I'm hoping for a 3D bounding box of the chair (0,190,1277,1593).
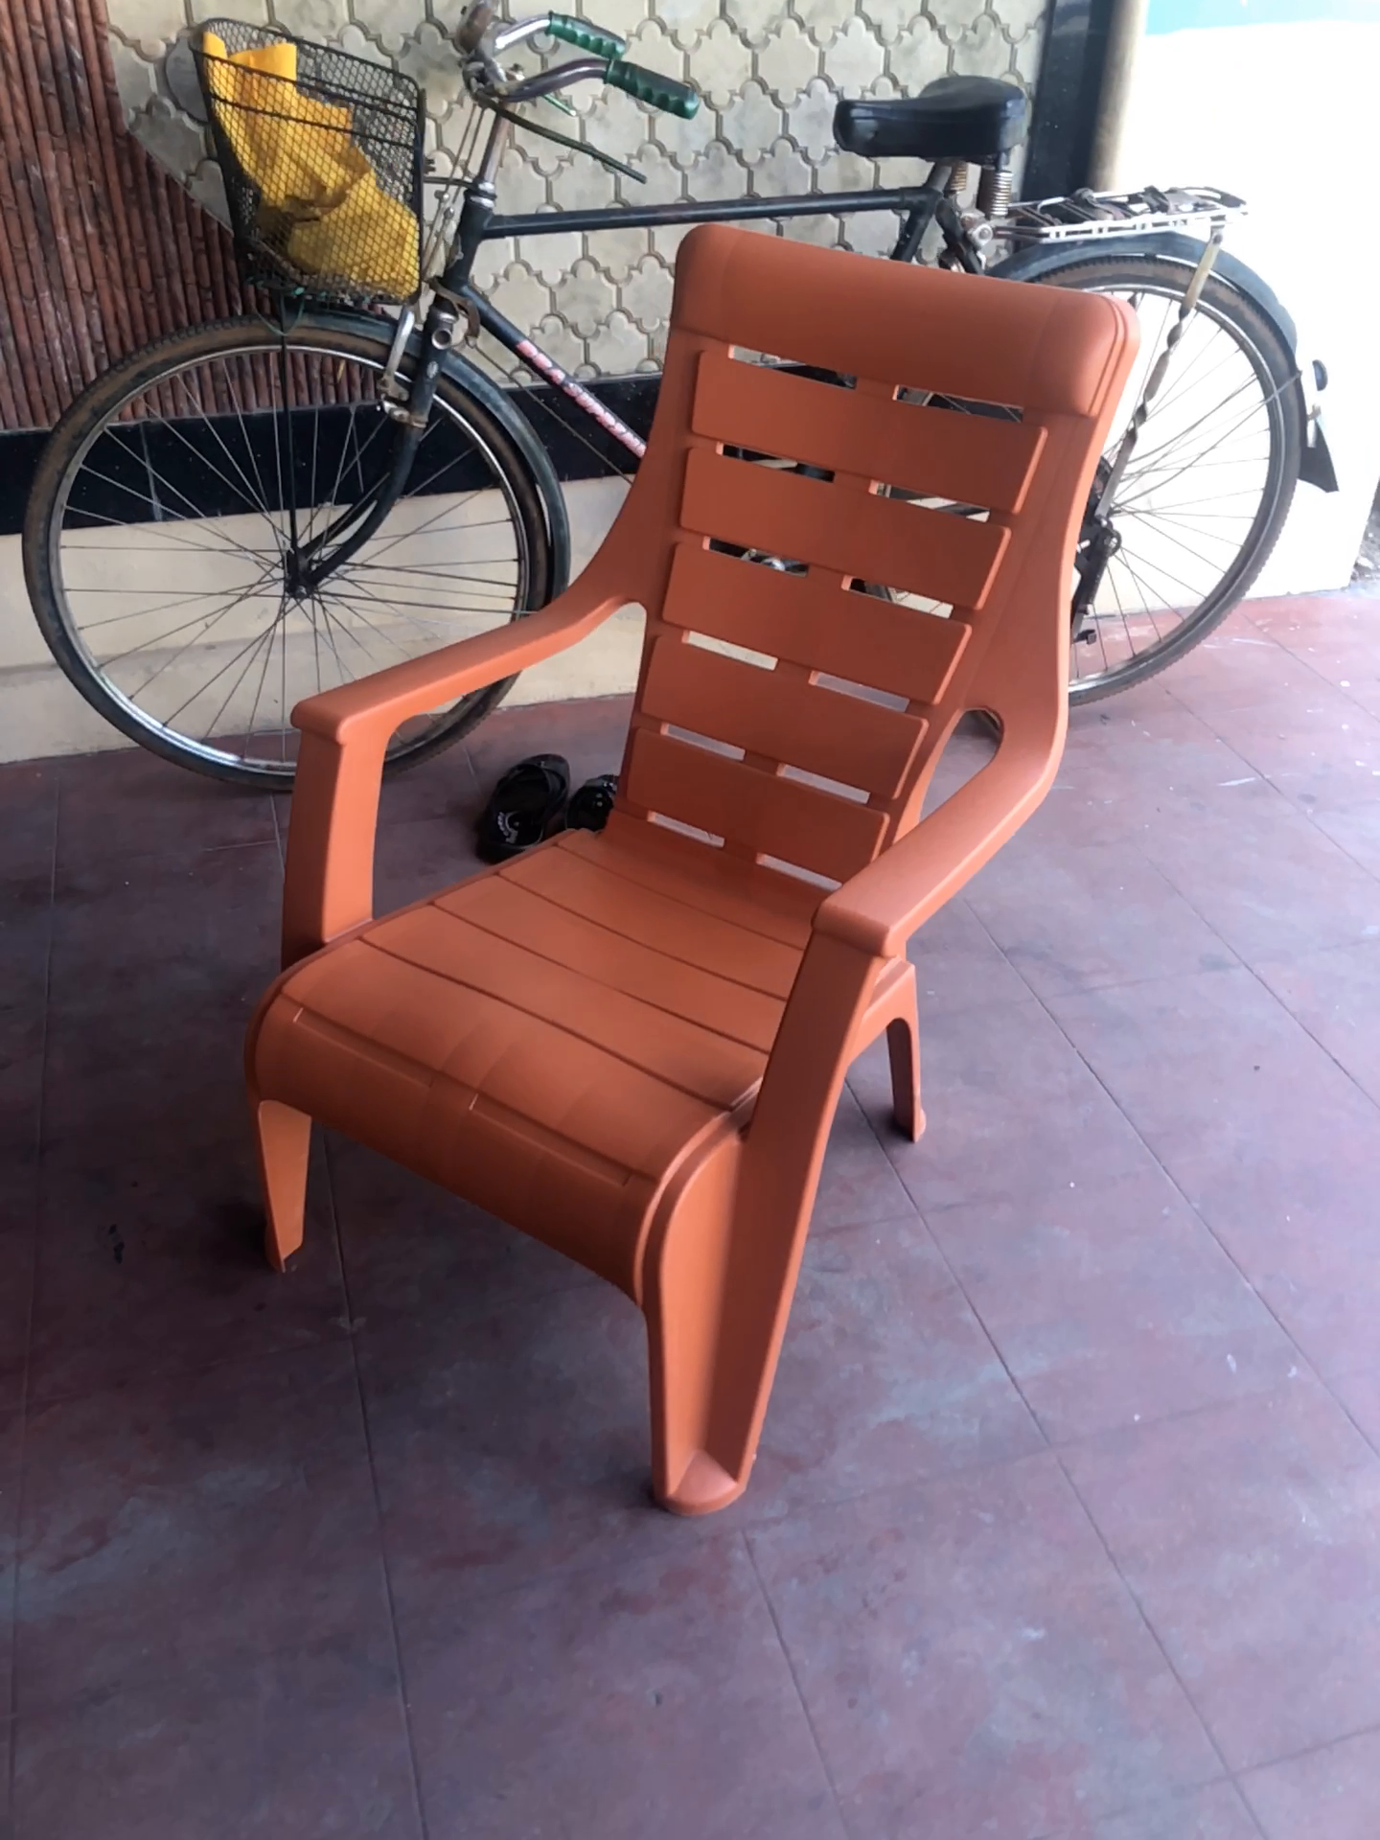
[{"bbox_3d":[-0.031,-0.106,1.331,0.690,0.786,0.764,21,41,25],"label":"chair"}]
